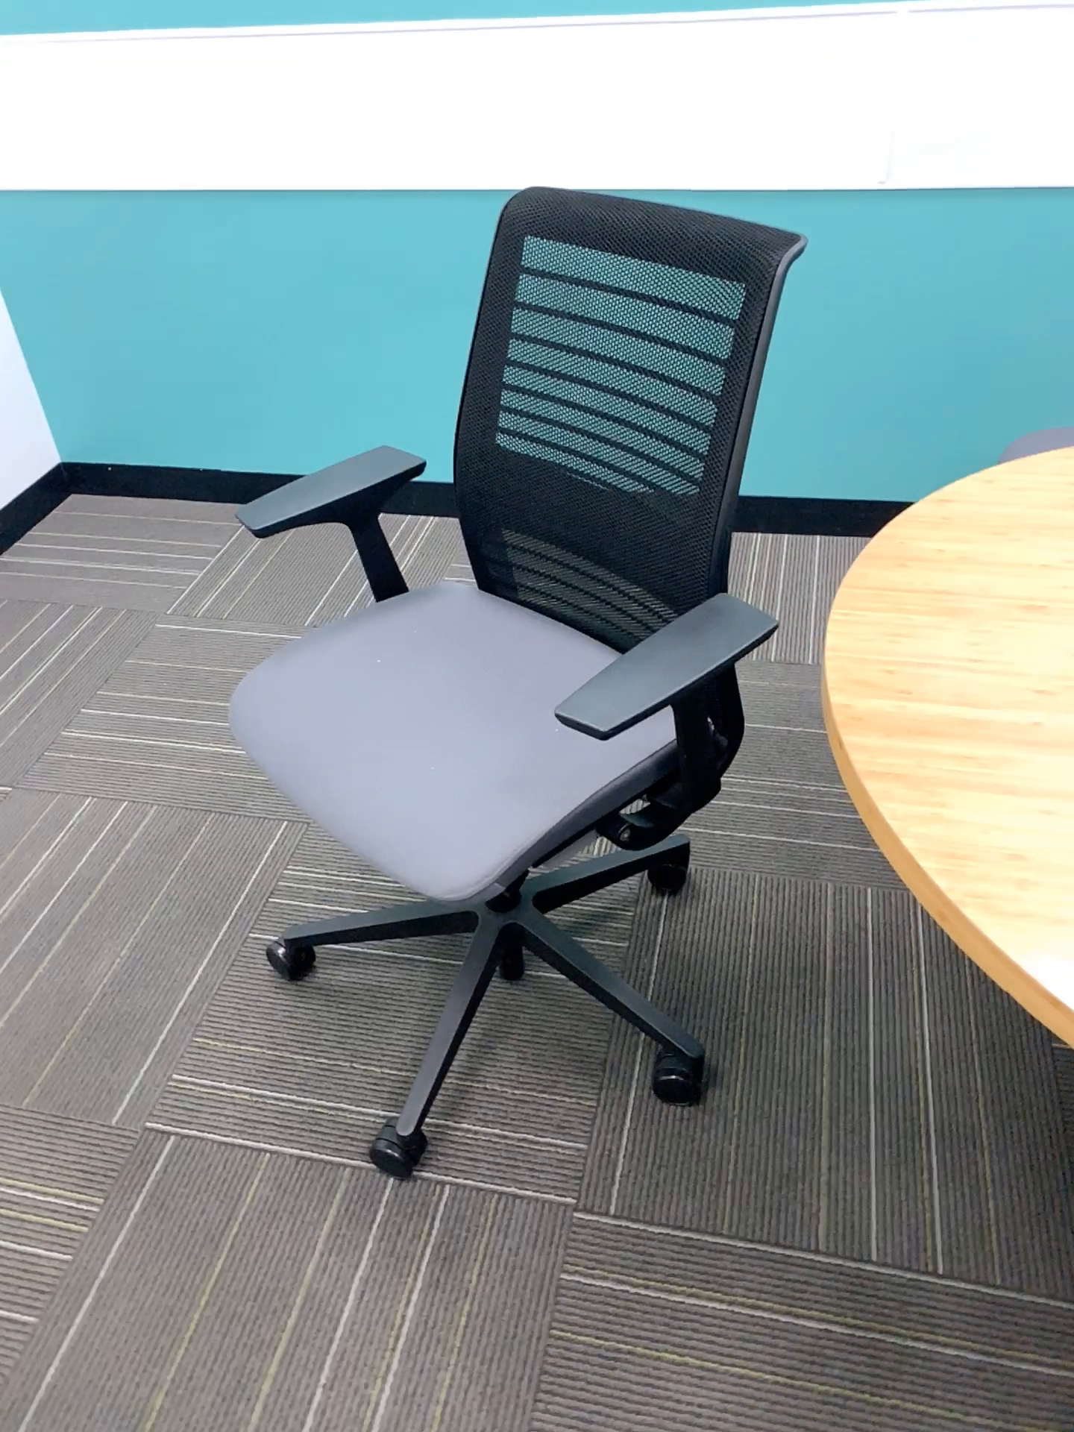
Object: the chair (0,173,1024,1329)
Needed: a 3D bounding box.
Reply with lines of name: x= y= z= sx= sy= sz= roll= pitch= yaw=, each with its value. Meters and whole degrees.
chair: x=-0.022 y=-0.028 z=1.399 sx=0.733 sy=0.984 sz=0.841 roll=27 pitch=48 yaw=34
